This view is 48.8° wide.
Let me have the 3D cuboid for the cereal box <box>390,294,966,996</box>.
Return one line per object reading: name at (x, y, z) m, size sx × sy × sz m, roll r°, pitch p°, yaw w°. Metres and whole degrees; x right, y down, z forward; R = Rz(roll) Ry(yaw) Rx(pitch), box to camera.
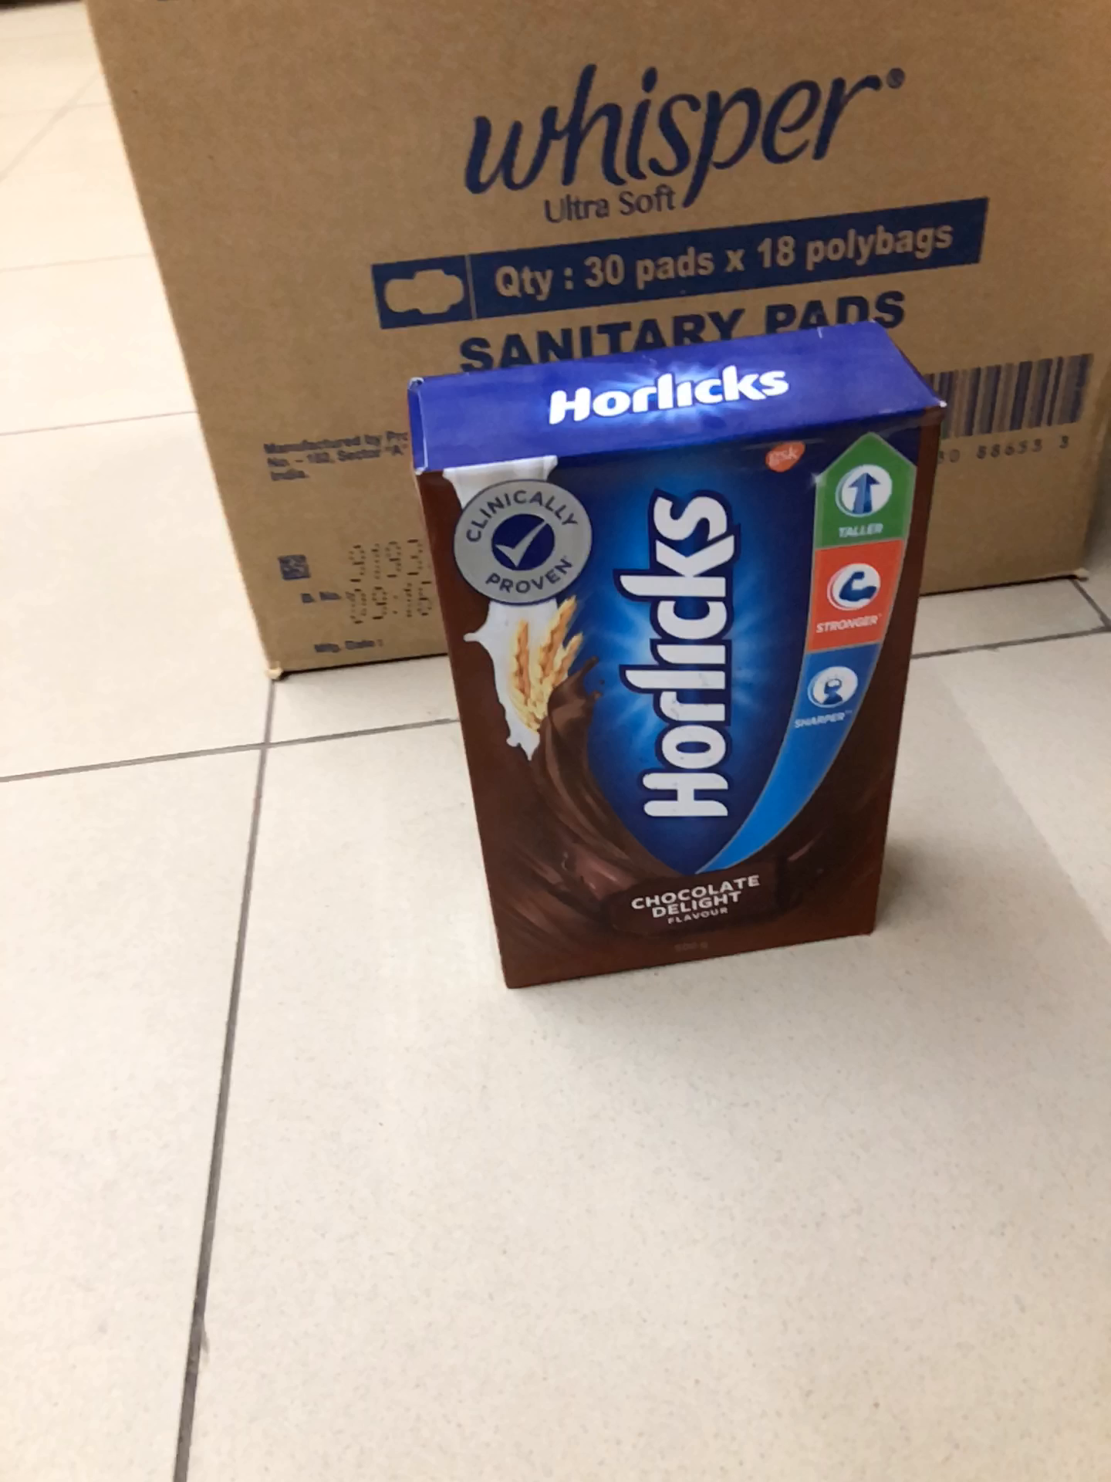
cereal box at (0.036, -0.020, 0.379) m, size 0.140 × 0.199 × 0.060 m, roll -8°, pitch 38°, yaw -1°
